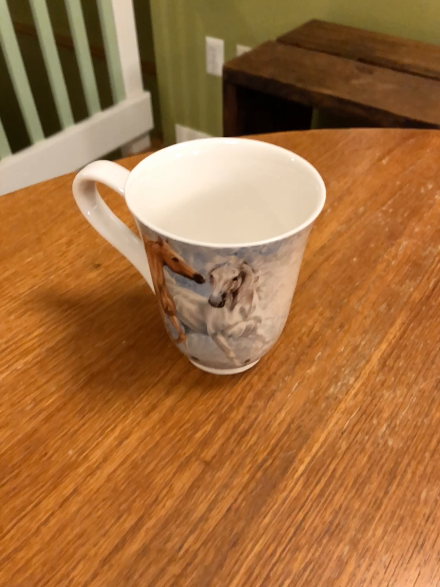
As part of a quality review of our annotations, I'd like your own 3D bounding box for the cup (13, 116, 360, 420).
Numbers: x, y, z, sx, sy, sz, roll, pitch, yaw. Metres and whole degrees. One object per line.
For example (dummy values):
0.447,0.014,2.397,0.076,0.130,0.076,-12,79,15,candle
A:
-0.011,-0.017,0.253,0.133,0.098,0.083,16,47,16,cup
